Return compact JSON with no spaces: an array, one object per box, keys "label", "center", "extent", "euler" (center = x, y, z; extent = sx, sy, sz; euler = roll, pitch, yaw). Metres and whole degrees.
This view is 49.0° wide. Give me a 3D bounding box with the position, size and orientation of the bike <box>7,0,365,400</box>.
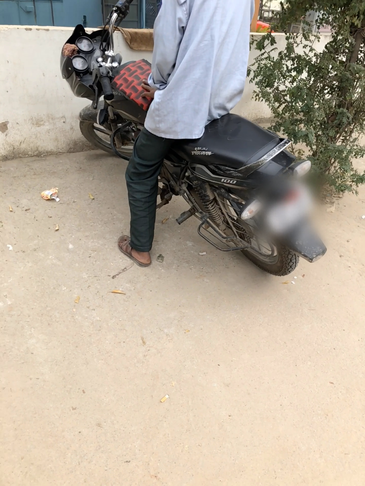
[{"label":"bike","center":[-0.093,-0.449,1.923],"extent":[0.789,1.332,1.500],"euler":[-20,40,-34]}]
